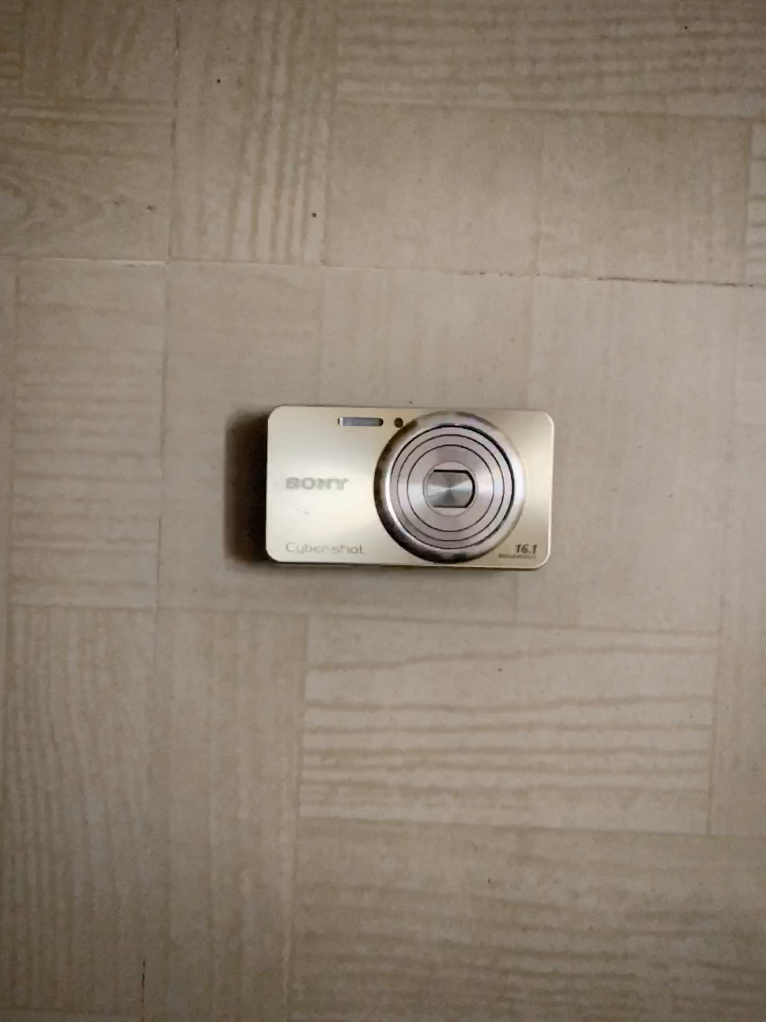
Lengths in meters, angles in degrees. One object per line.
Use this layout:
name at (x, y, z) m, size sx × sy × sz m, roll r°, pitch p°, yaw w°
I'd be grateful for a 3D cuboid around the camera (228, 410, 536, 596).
camera at (-0.001, -0.003, 0.264) m, size 0.097 × 0.019 × 0.057 m, roll 1°, pitch 91°, yaw 0°
